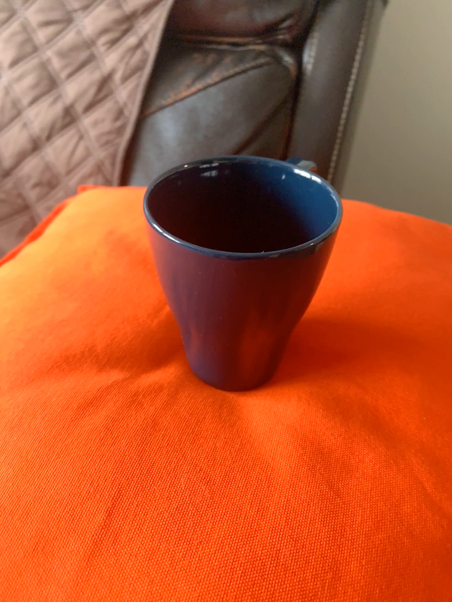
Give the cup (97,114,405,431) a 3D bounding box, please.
[{"bbox_3d":[0.016,-0.023,0.227,0.080,0.079,0.121,26,46,23],"label":"cup"}]
